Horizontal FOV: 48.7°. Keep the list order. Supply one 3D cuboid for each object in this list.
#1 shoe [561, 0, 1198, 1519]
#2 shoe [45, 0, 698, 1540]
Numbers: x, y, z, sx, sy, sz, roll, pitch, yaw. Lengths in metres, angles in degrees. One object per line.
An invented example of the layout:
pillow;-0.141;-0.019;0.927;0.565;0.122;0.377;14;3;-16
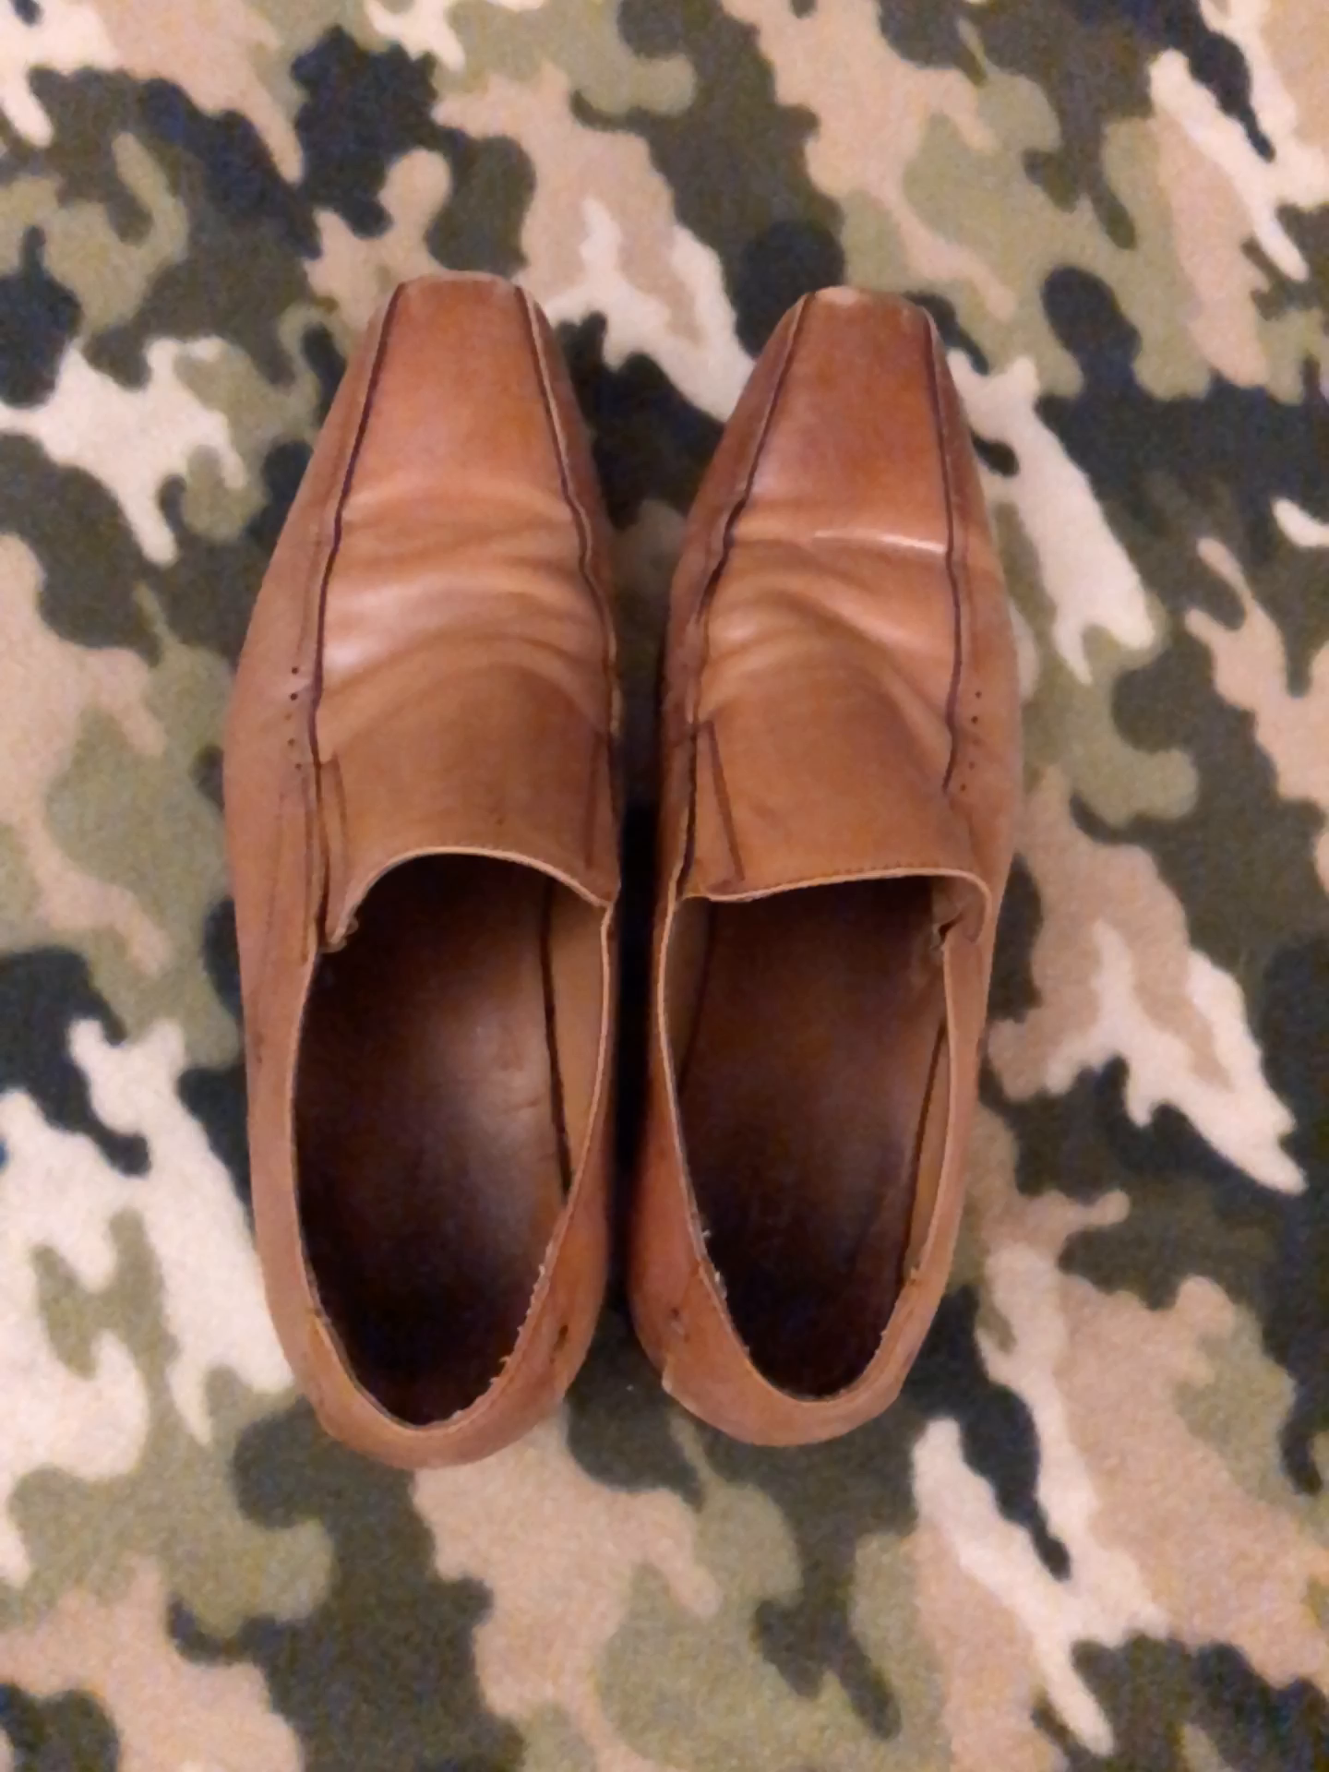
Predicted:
shoe;0.049;-0.033;0.360;0.110;0.120;0.320;7;77;-5
shoe;-0.056;-0.033;0.344;0.110;0.120;0.320;1;77;-6
